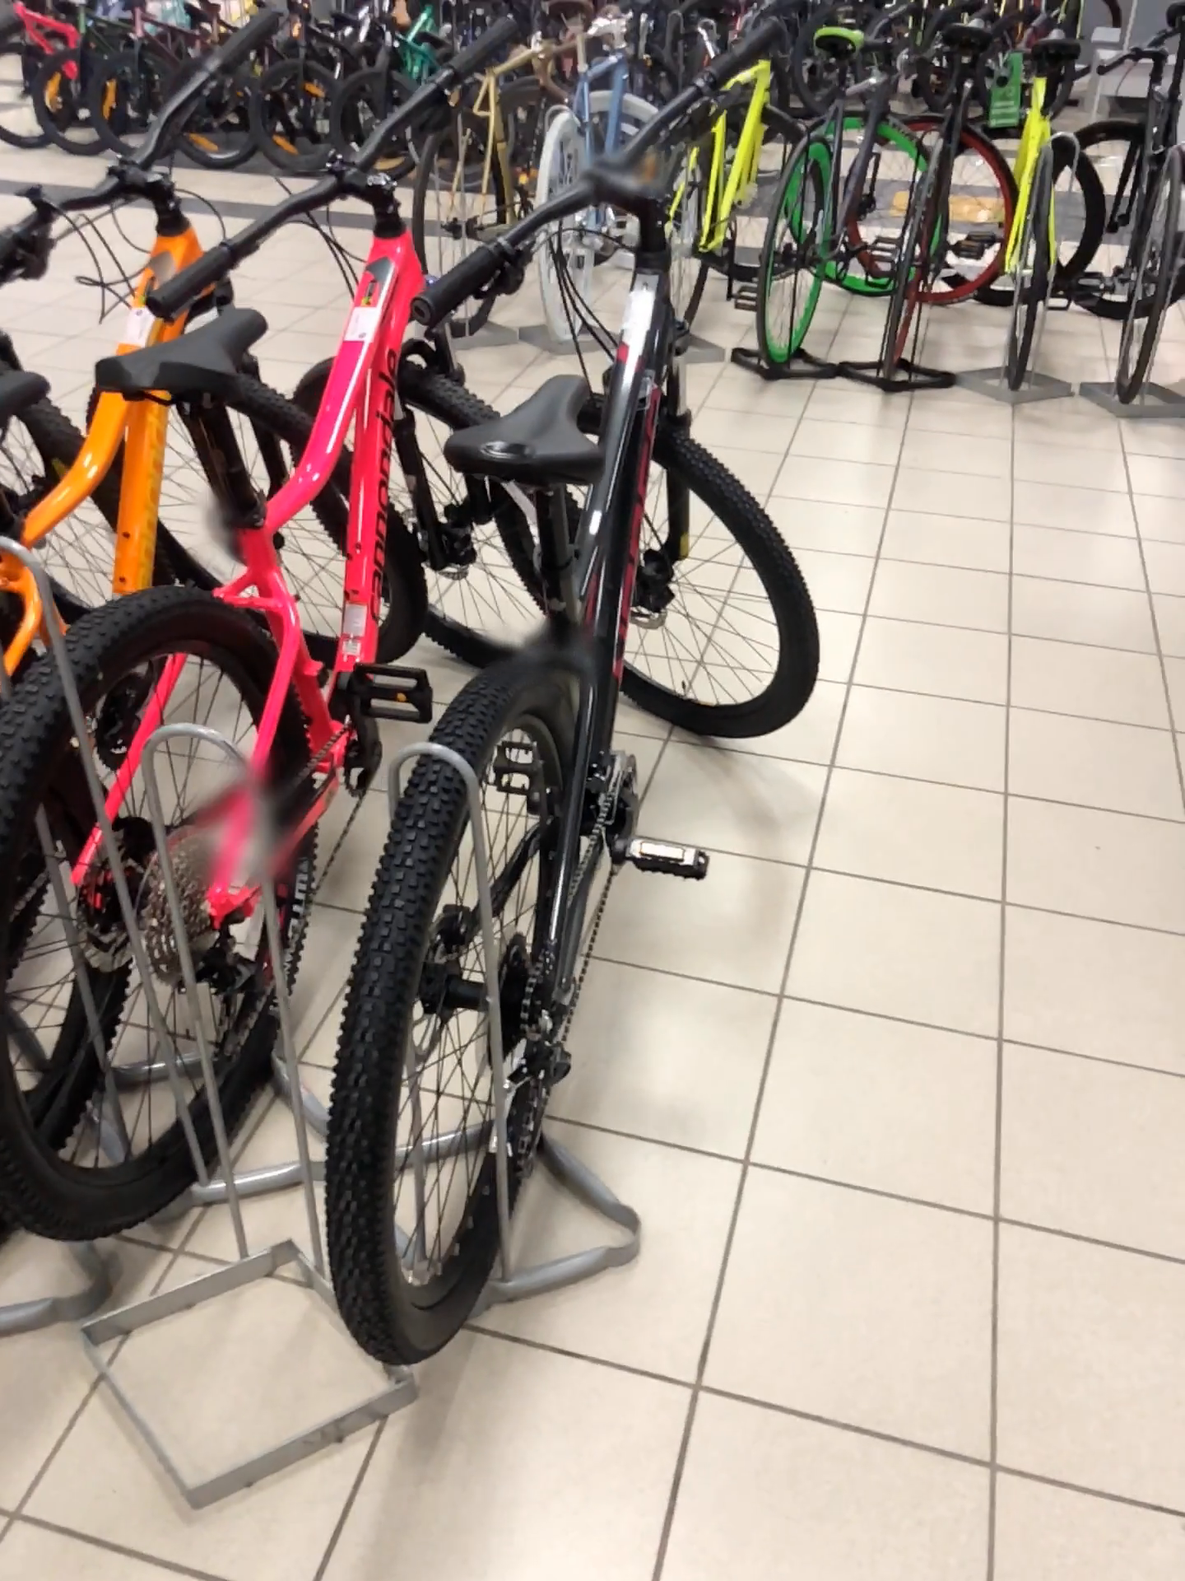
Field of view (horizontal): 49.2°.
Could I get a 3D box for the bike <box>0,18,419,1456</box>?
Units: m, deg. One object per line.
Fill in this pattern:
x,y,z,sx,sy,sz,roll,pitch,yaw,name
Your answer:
-0.660,-0.301,1.698,0.652,1.074,1.573,3,35,2,bike

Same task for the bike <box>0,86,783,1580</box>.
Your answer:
-0.277,-0.192,1.617,0.684,1.101,1.587,2,32,1,bike
